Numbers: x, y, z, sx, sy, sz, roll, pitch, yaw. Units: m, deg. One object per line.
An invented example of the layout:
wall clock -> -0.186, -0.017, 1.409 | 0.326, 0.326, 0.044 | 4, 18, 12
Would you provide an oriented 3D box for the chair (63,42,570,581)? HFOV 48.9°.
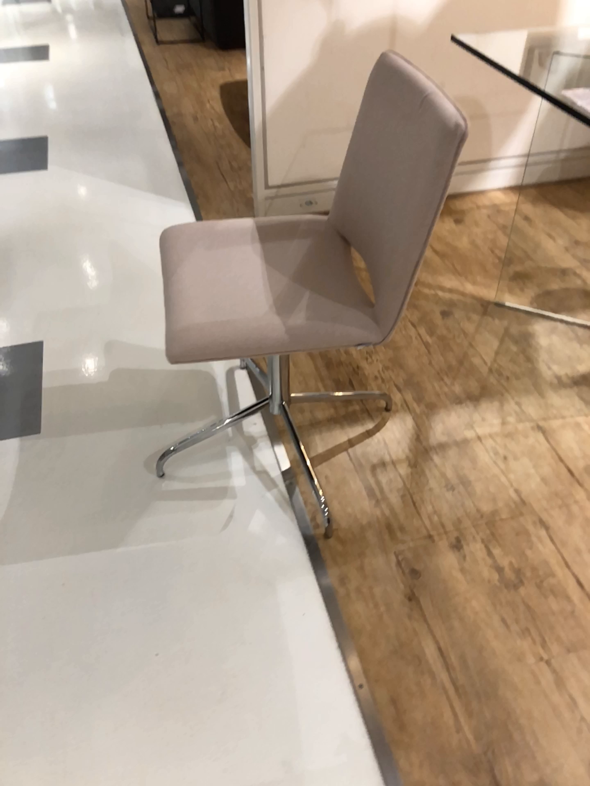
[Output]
chair -> -0.019, -0.176, 1.274 | 0.630, 0.745, 0.654 | -8, 42, -9
